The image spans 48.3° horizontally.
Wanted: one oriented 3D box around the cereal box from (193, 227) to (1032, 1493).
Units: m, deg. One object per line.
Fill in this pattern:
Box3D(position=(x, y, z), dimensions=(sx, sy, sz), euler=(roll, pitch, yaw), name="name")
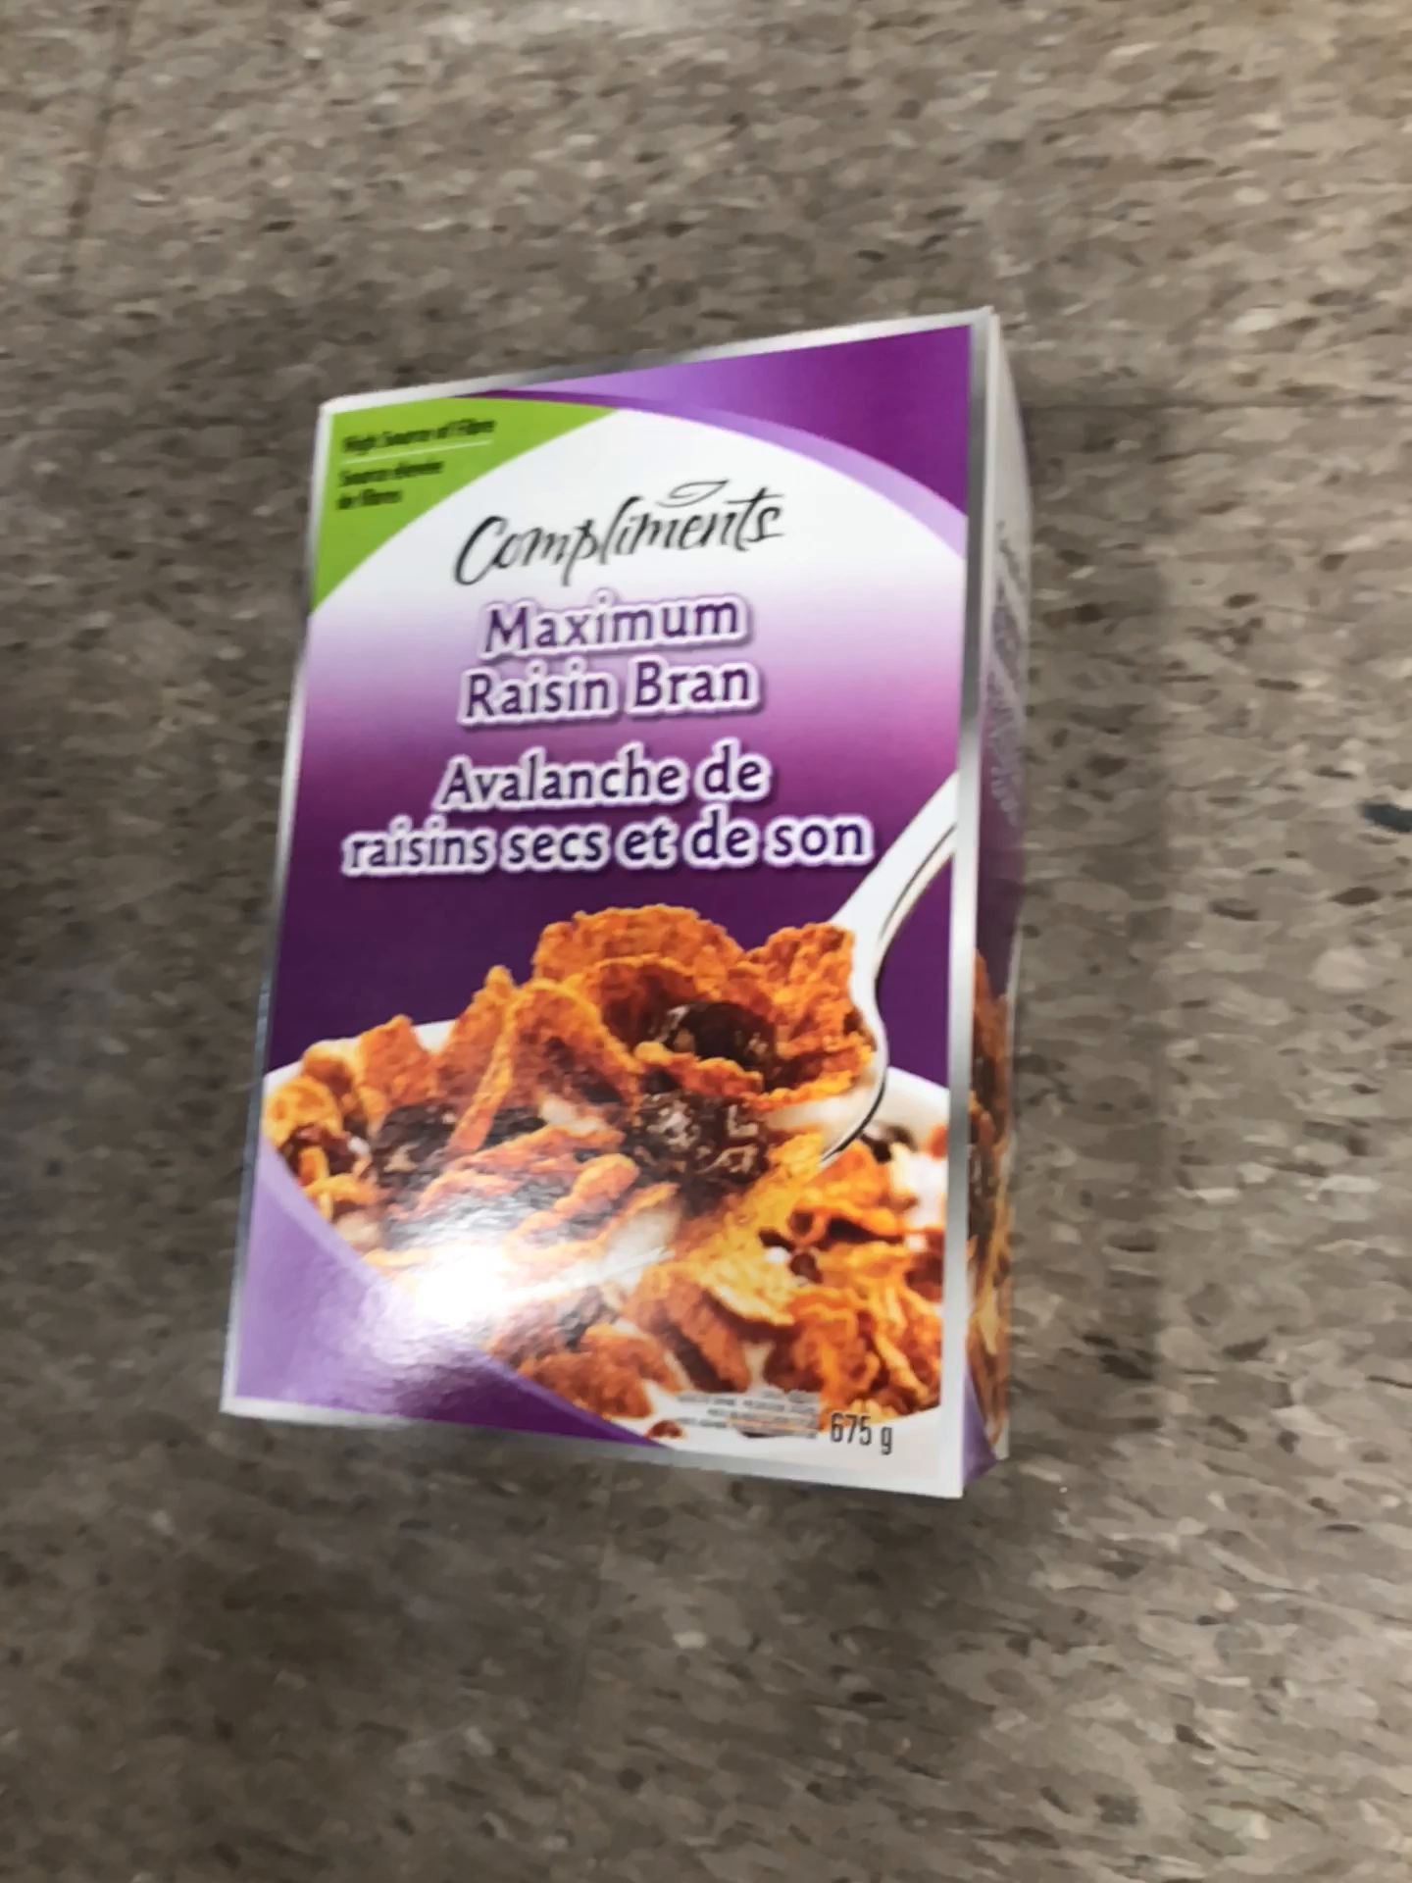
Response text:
Box3D(position=(-0.020, -0.024, 0.442), dimensions=(0.200, 0.070, 0.310), euler=(0, 79, 21), name="cereal box")
